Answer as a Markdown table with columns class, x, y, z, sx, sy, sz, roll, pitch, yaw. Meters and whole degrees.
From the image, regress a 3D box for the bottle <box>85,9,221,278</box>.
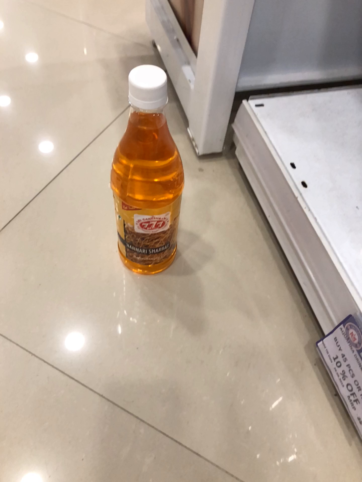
| class | x | y | z | sx | sy | sz | roll | pitch | yaw |
| --- | --- | --- | --- | --- | --- | --- | --- | --- | --- |
| bottle | -0.034 | -0.075 | 0.445 | 0.100 | 0.298 | 0.101 | 3 | 56 | -4 |
